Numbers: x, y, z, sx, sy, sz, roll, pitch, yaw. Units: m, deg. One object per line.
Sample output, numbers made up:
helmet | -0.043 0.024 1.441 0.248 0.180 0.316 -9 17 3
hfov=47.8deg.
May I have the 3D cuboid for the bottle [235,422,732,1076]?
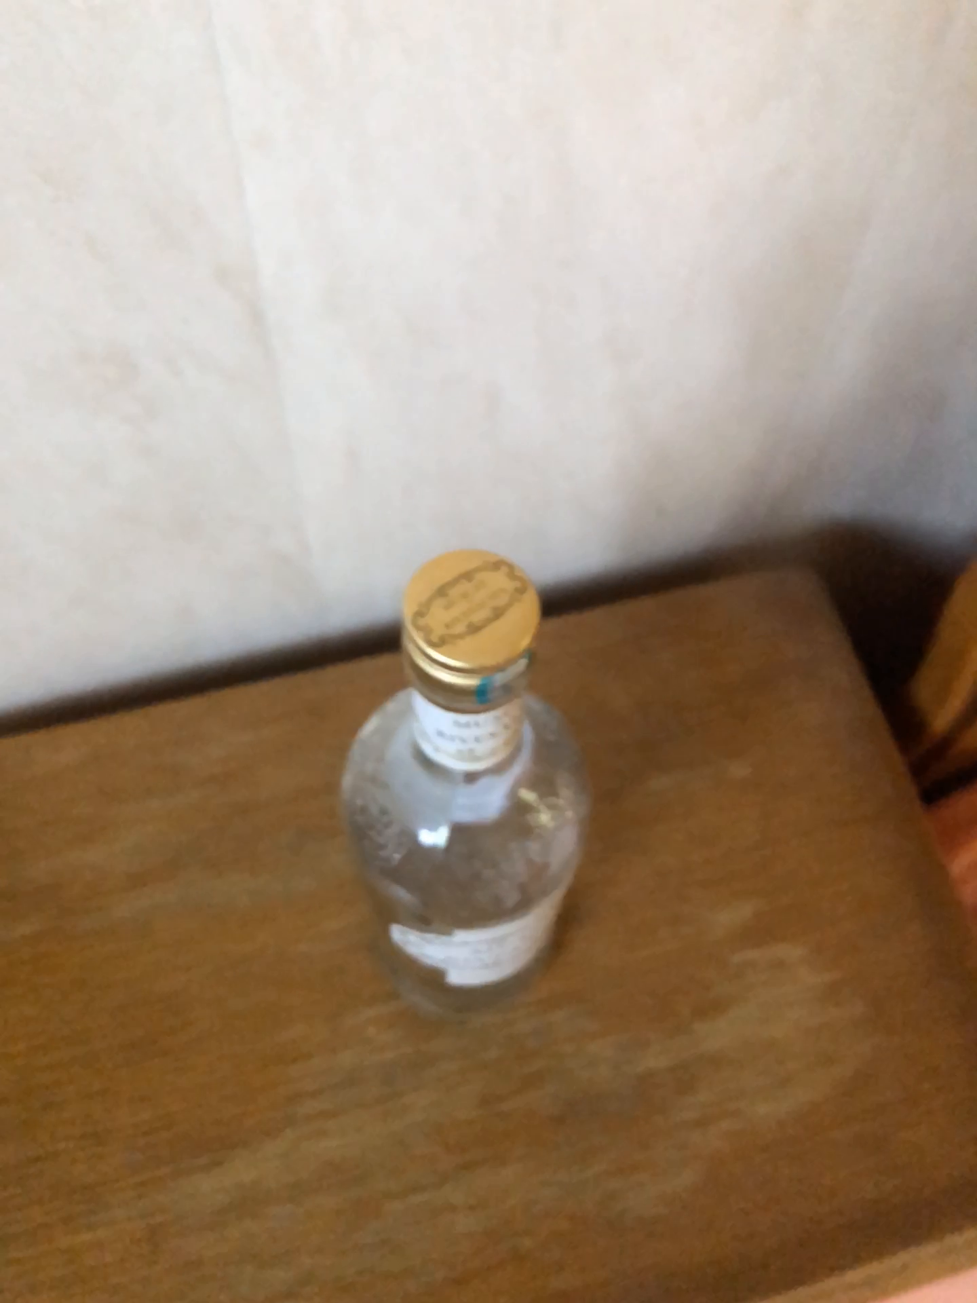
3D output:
bottle | -0.008 0.062 0.363 0.080 0.289 0.080 1 61 -2
